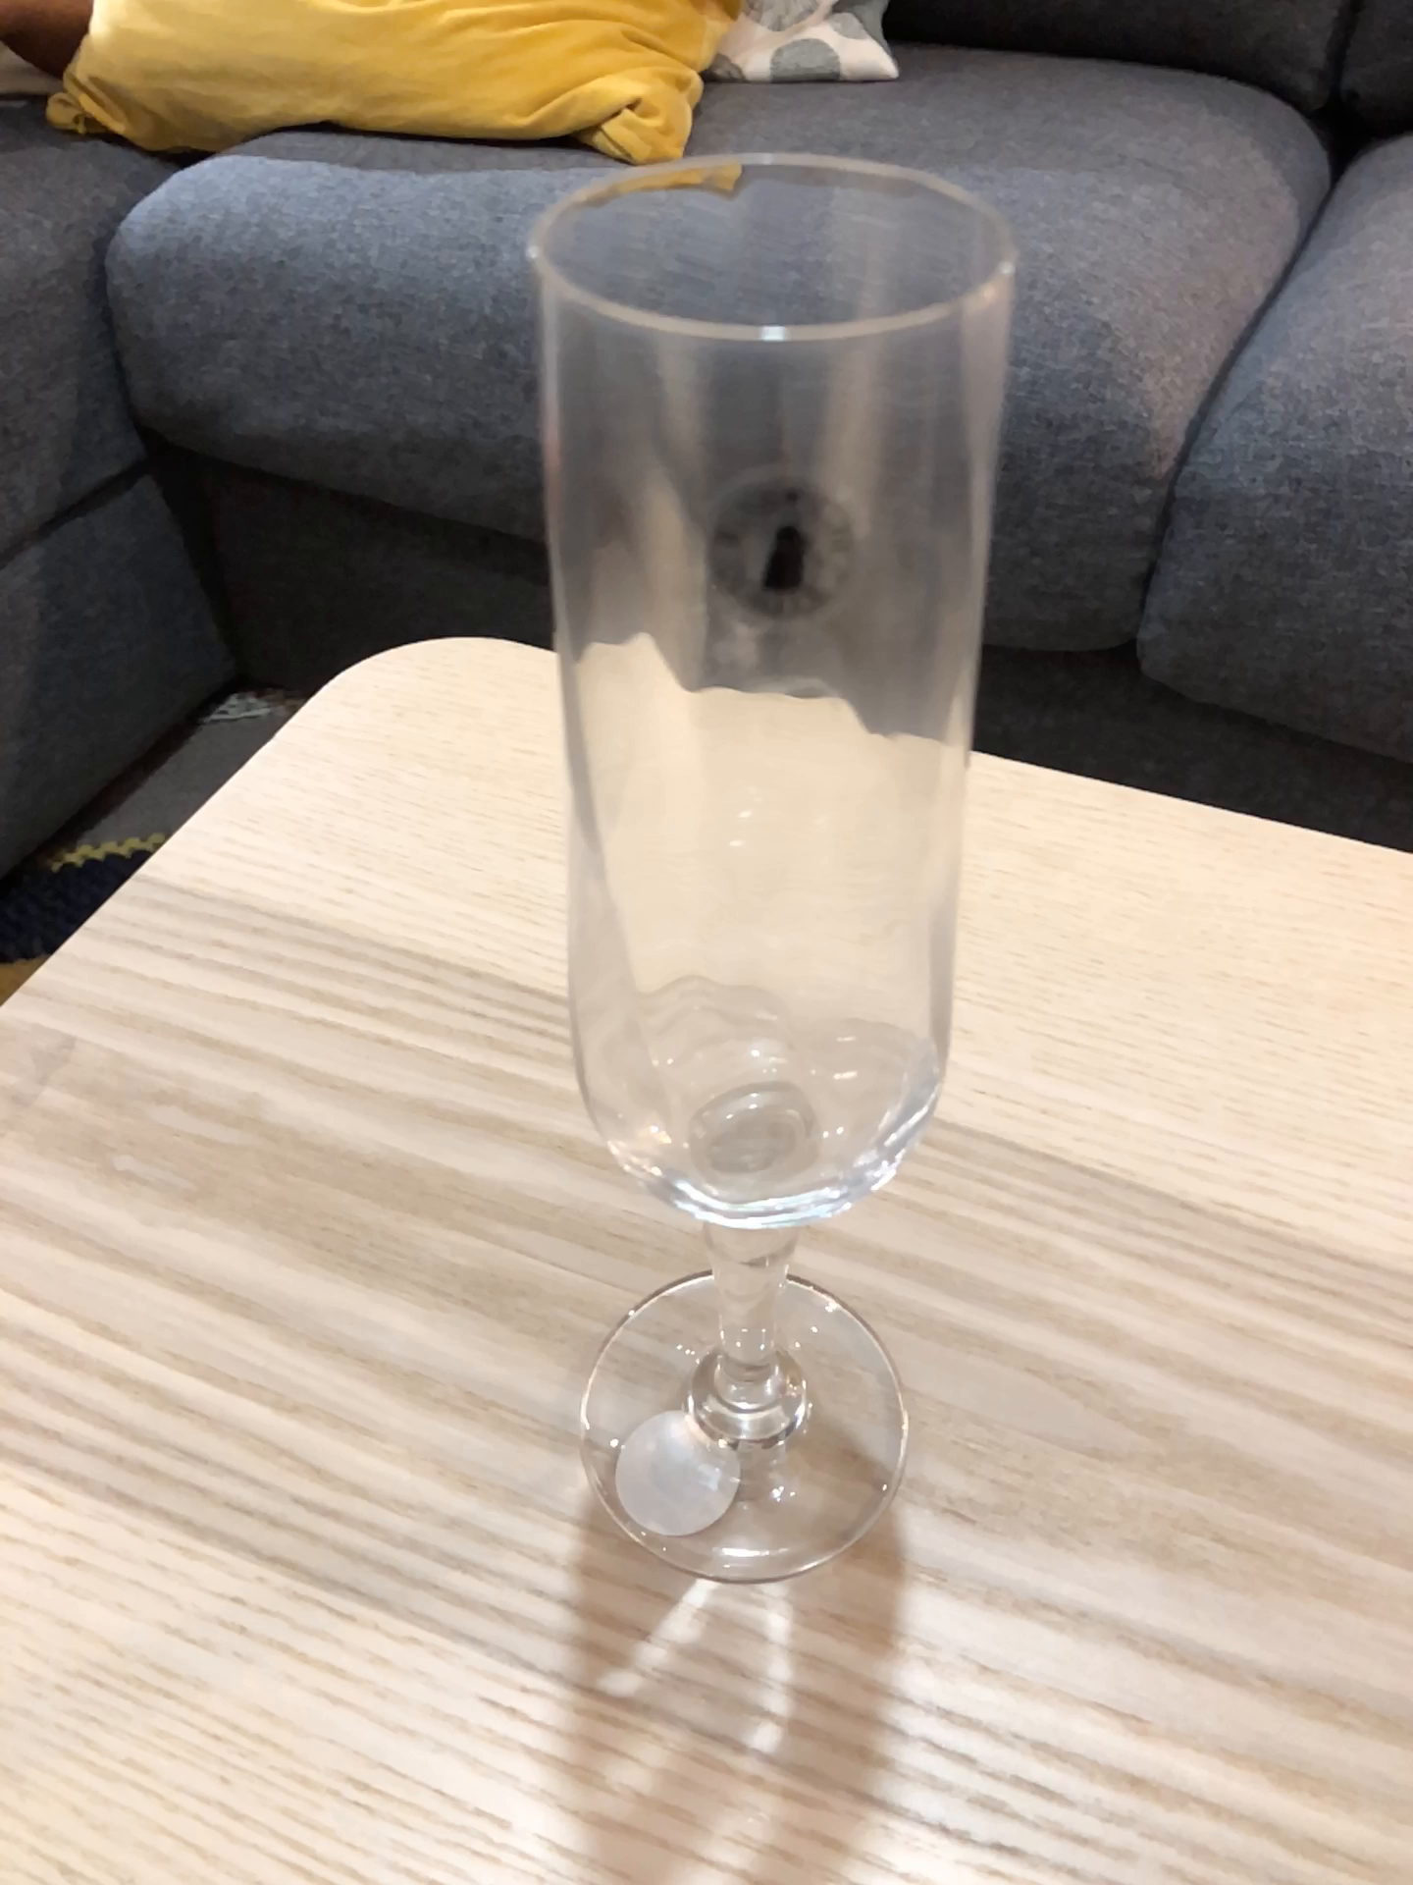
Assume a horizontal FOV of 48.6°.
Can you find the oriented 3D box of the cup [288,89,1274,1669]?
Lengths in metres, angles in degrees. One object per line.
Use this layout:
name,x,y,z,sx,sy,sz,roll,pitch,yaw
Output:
cup,0.002,0.014,0.244,0.080,0.239,0.080,0,44,0
